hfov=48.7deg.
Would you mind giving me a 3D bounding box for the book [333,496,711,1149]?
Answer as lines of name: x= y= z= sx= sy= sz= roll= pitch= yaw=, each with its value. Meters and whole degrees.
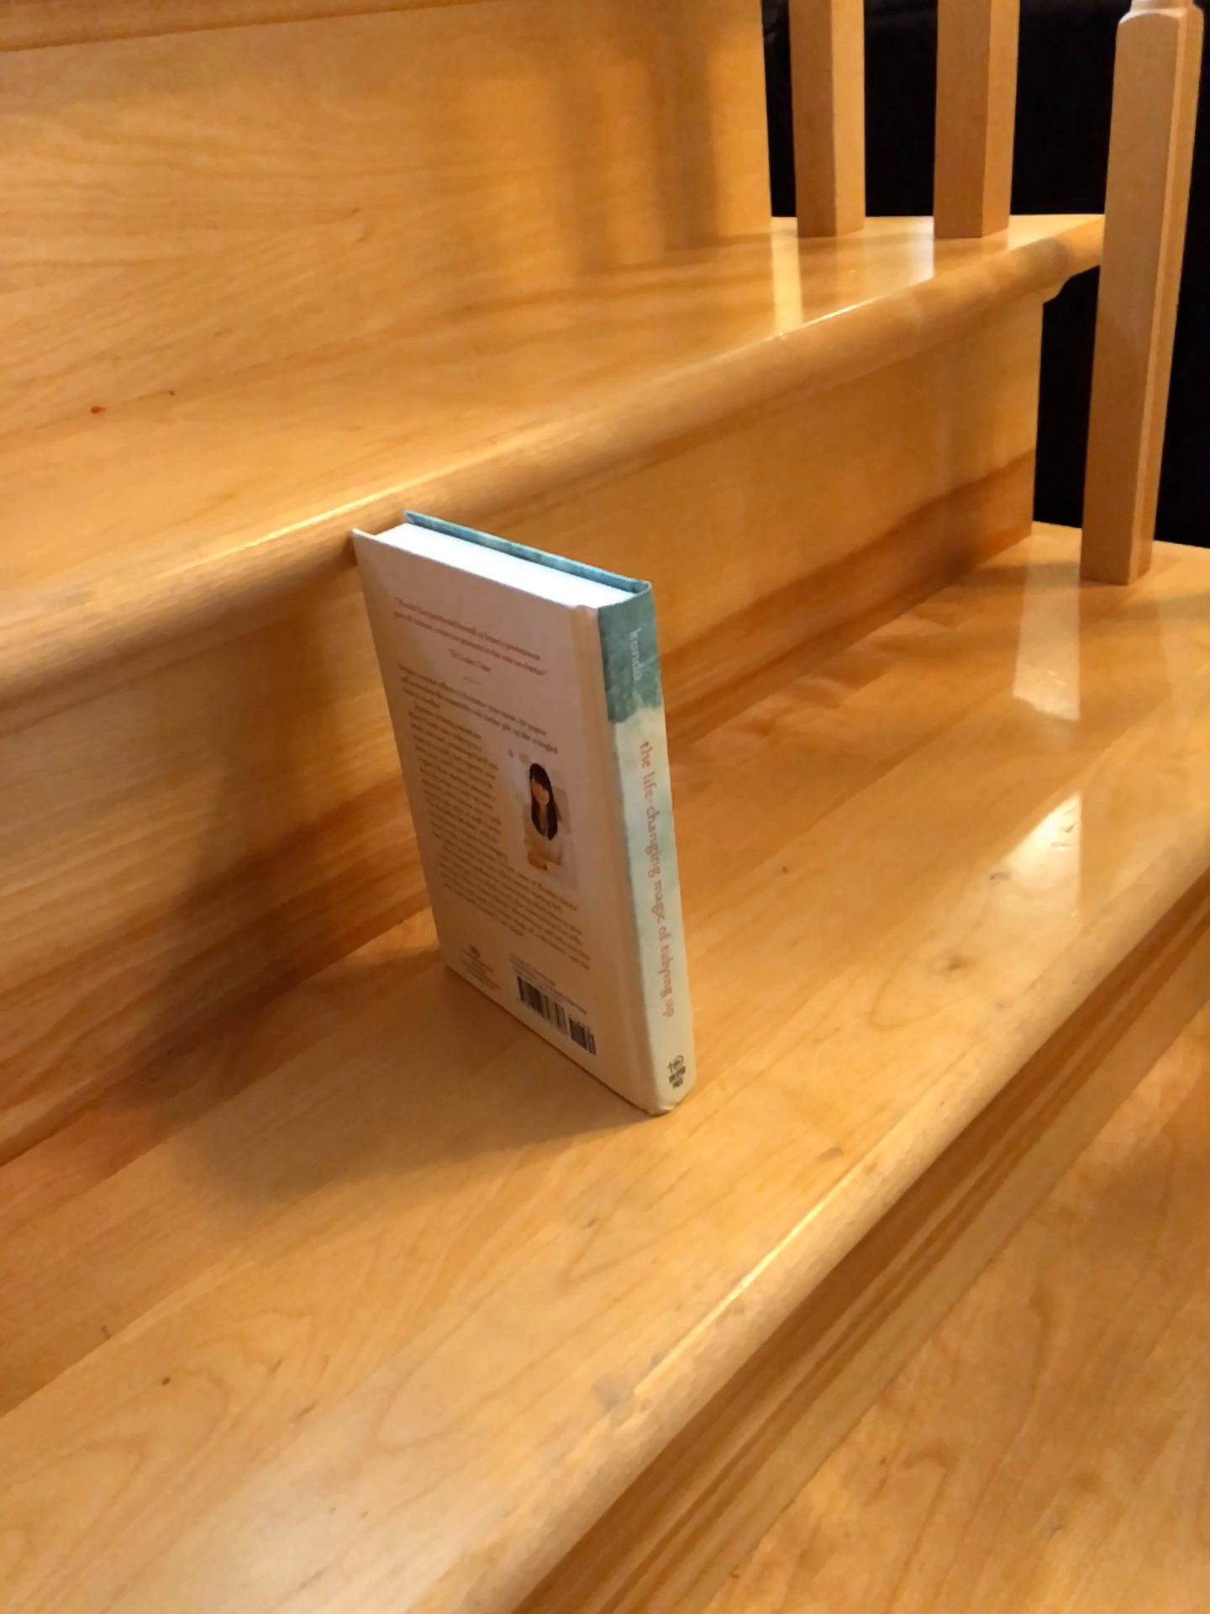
book: x=-0.028 y=0.004 z=0.467 sx=0.027 sy=0.199 sz=0.140 roll=-27 pitch=35 yaw=-32
